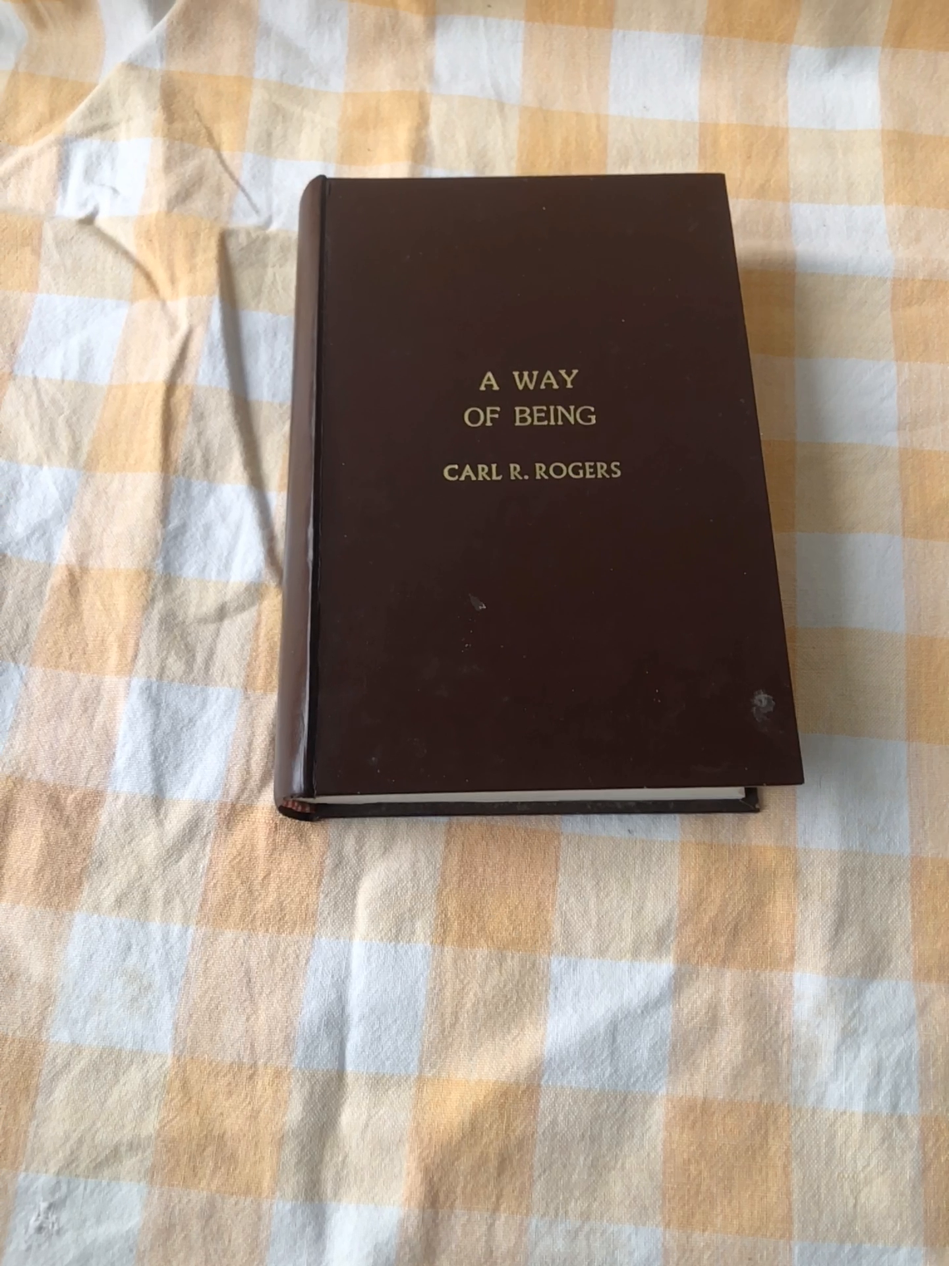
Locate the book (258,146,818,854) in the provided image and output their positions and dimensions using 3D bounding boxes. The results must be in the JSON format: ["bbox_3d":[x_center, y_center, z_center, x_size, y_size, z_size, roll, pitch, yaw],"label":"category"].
[{"bbox_3d":[0.013,-0.044,0.326,0.140,0.060,0.210,-1,70,-1],"label":"book"}]
